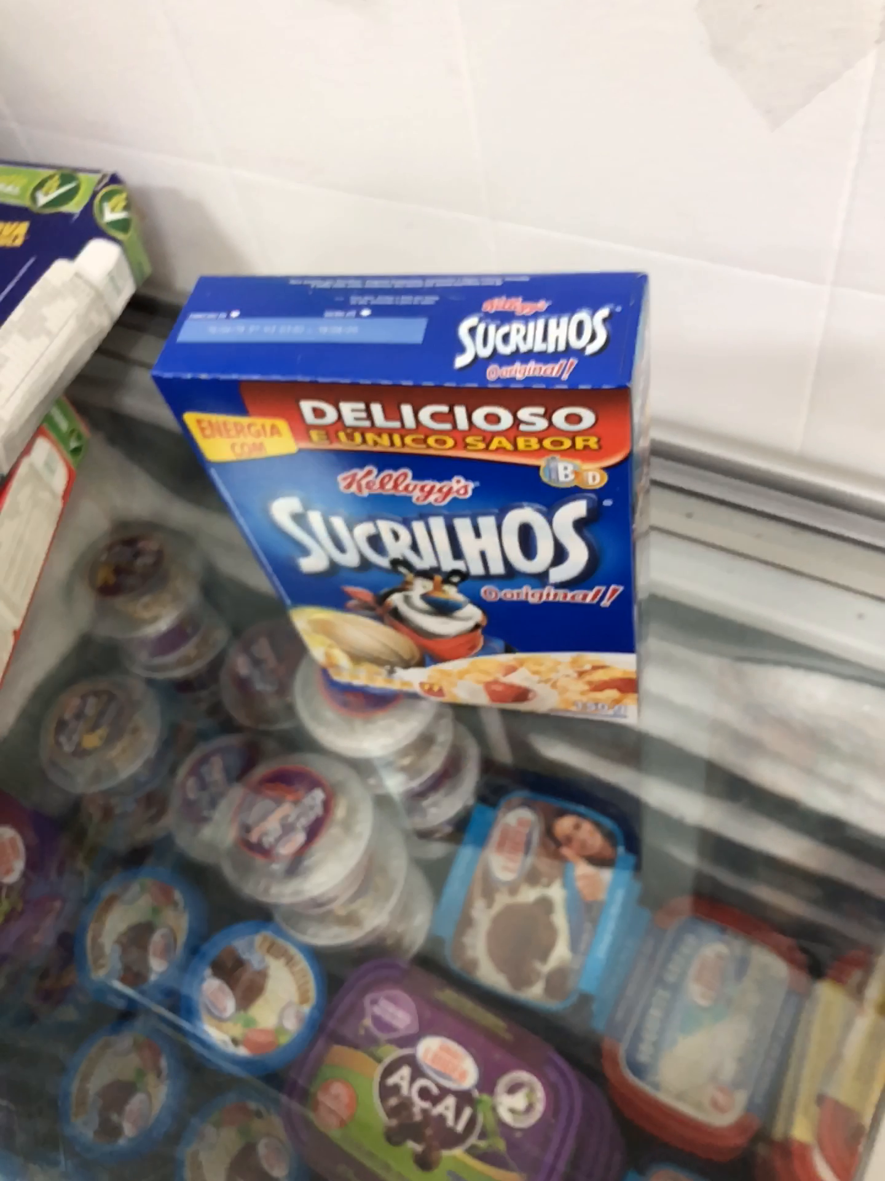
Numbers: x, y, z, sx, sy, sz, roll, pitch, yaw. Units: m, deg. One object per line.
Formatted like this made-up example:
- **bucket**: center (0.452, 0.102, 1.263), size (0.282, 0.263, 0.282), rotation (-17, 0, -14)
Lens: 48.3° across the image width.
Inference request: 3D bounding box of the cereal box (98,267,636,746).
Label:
- **cereal box**: center (-0.005, -0.017, 0.348), size (0.140, 0.199, 0.050), rotation (5, 59, 14)
